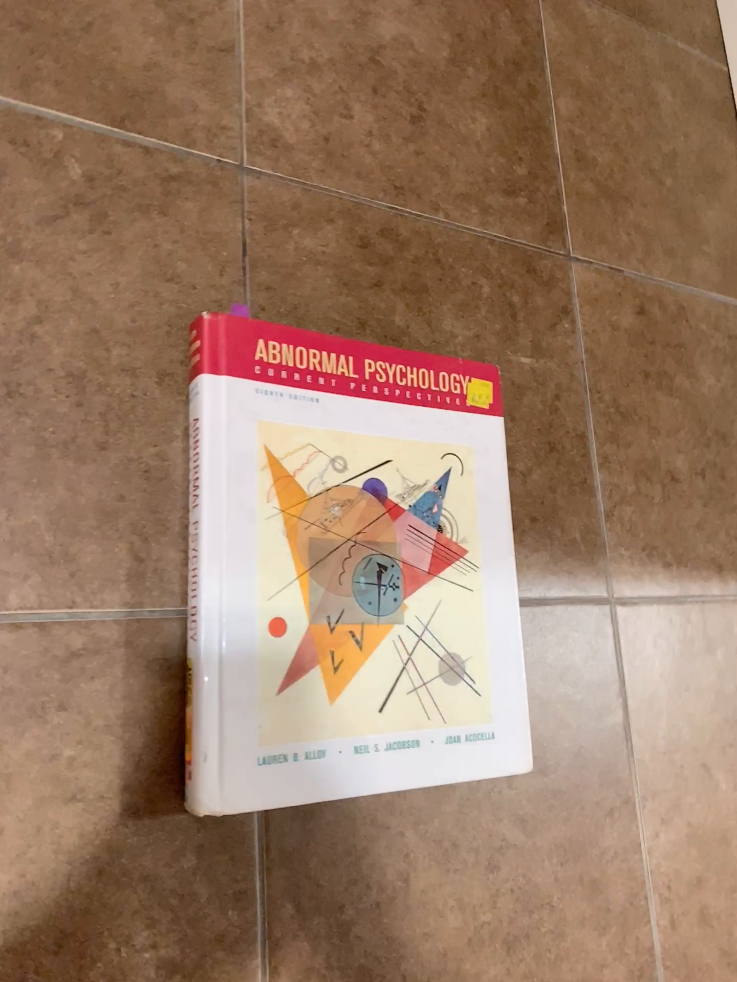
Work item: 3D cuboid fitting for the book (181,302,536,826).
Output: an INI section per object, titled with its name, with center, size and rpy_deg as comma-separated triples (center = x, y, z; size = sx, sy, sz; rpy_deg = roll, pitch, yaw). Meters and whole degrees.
[book]
center = -0.003, 0.040, 0.479
size = 0.224, 0.032, 0.288
rpy_deg = 4, 76, -29
